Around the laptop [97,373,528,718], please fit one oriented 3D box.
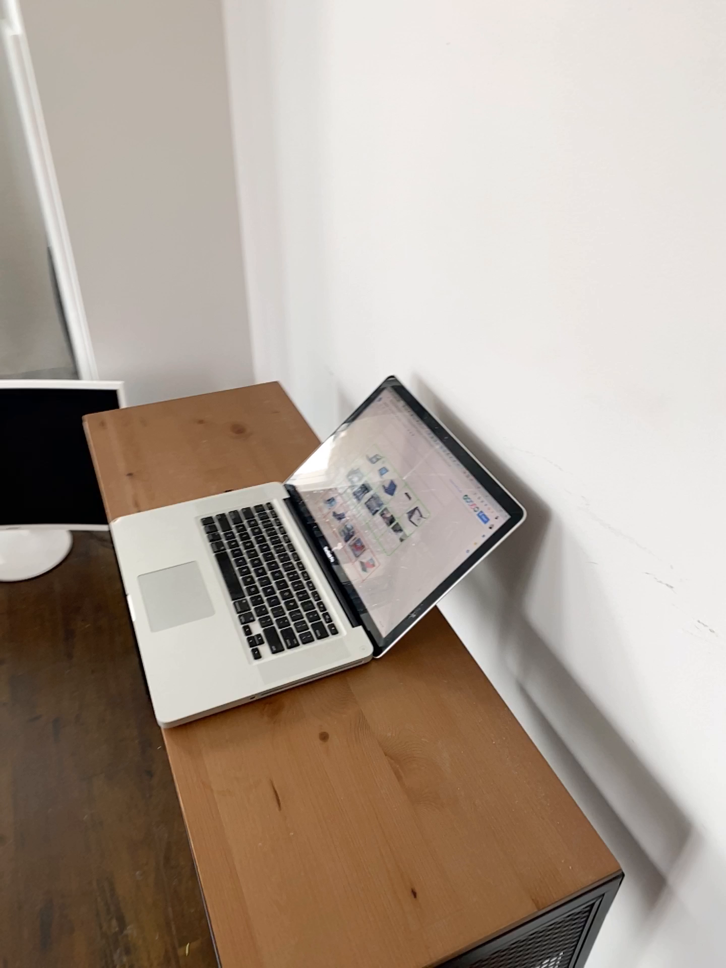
[{"bbox_3d":[-0.083,0.042,0.968,0.439,0.151,0.369,-14,39,-19],"label":"laptop"}]
